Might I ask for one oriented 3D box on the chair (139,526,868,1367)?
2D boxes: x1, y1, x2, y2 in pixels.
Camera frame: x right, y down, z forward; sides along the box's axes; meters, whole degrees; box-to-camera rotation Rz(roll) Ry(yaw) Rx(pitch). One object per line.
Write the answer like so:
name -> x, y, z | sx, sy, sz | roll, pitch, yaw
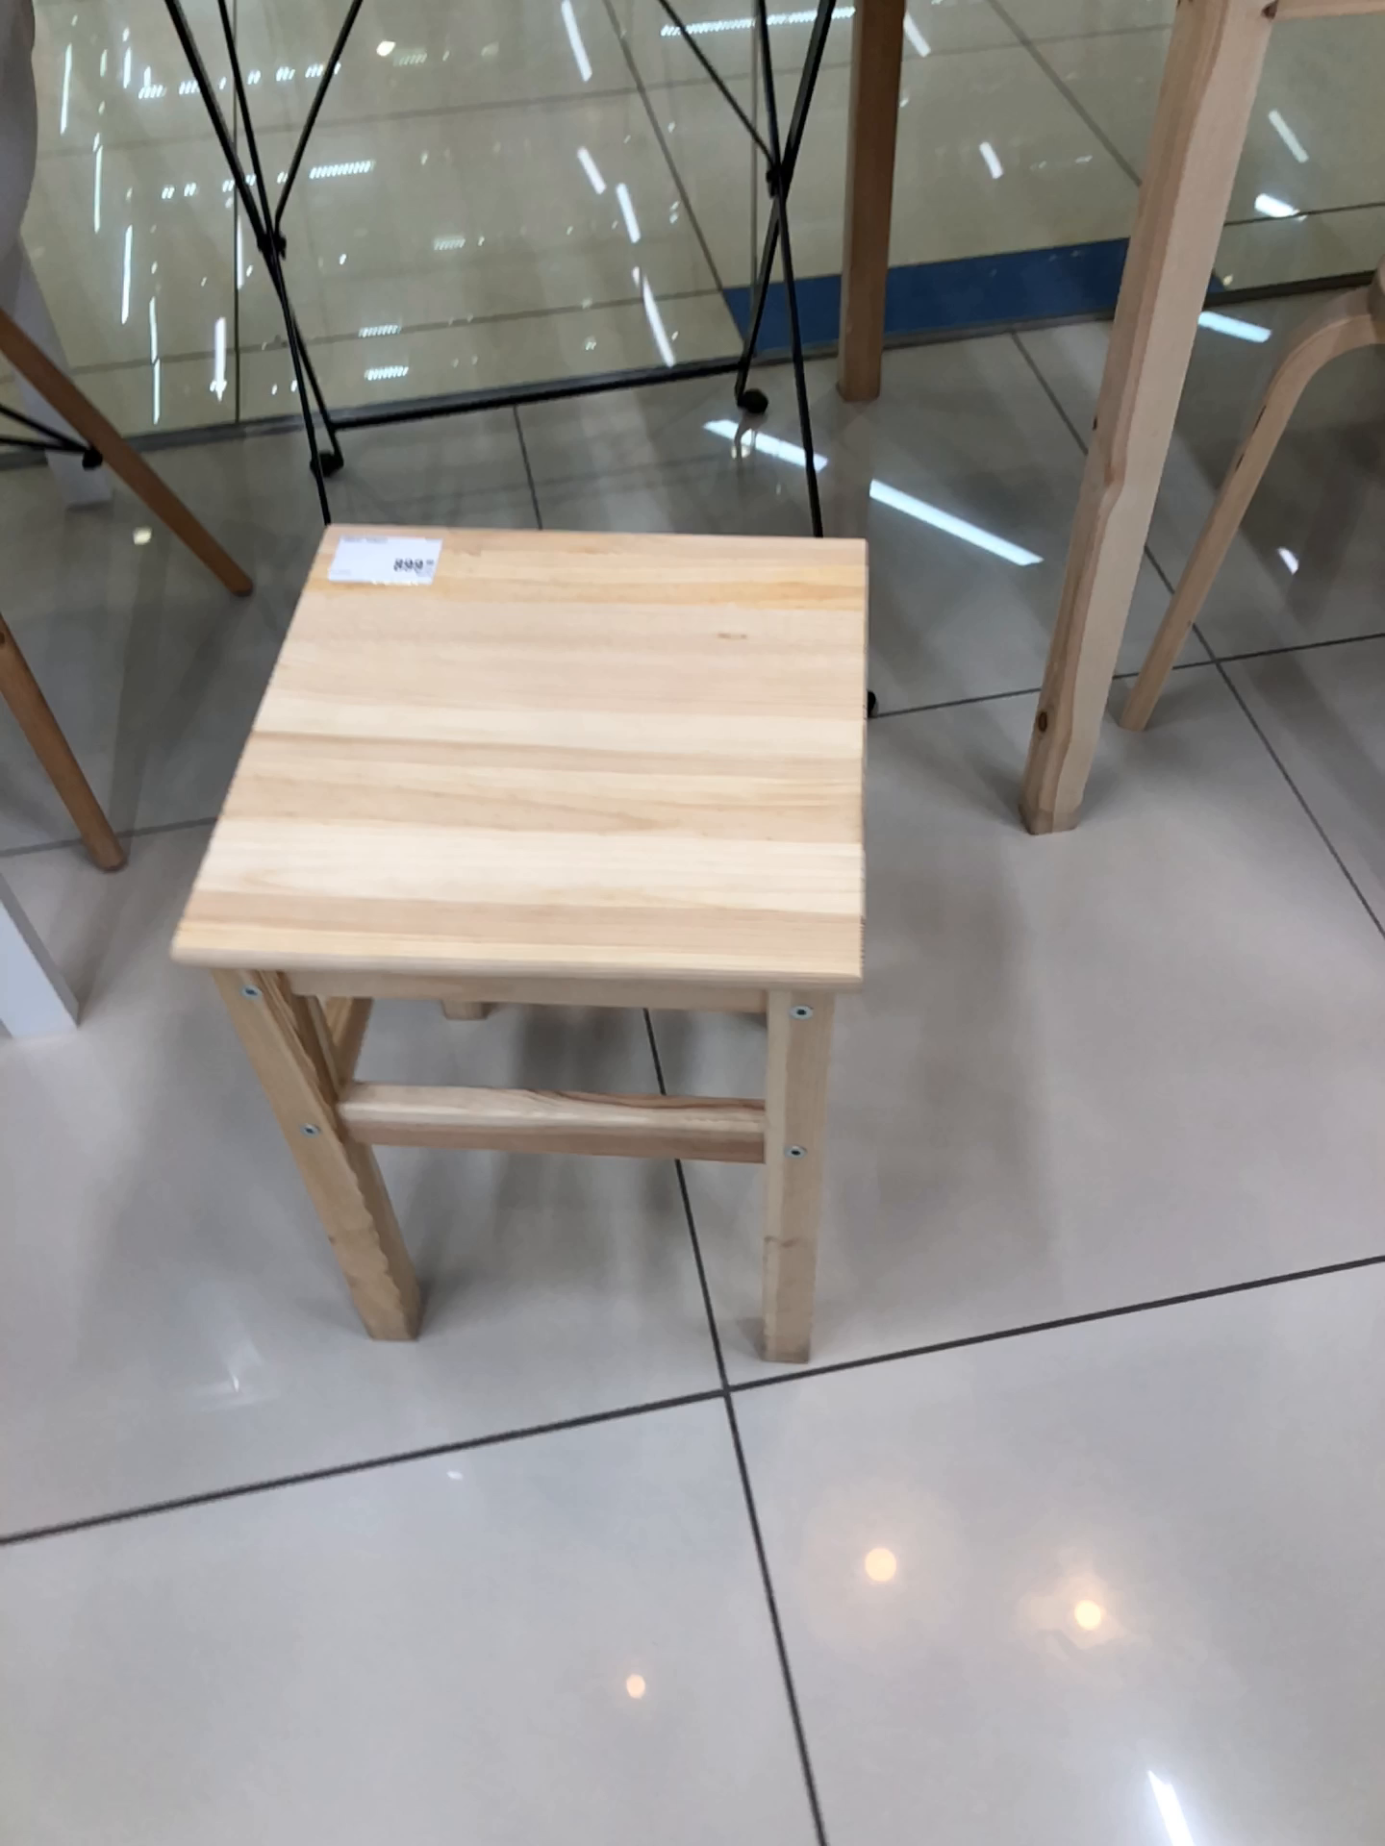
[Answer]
chair -> -0.069, 0.027, 0.931 | 0.326, 0.408, 0.322 | 2, 51, 4
